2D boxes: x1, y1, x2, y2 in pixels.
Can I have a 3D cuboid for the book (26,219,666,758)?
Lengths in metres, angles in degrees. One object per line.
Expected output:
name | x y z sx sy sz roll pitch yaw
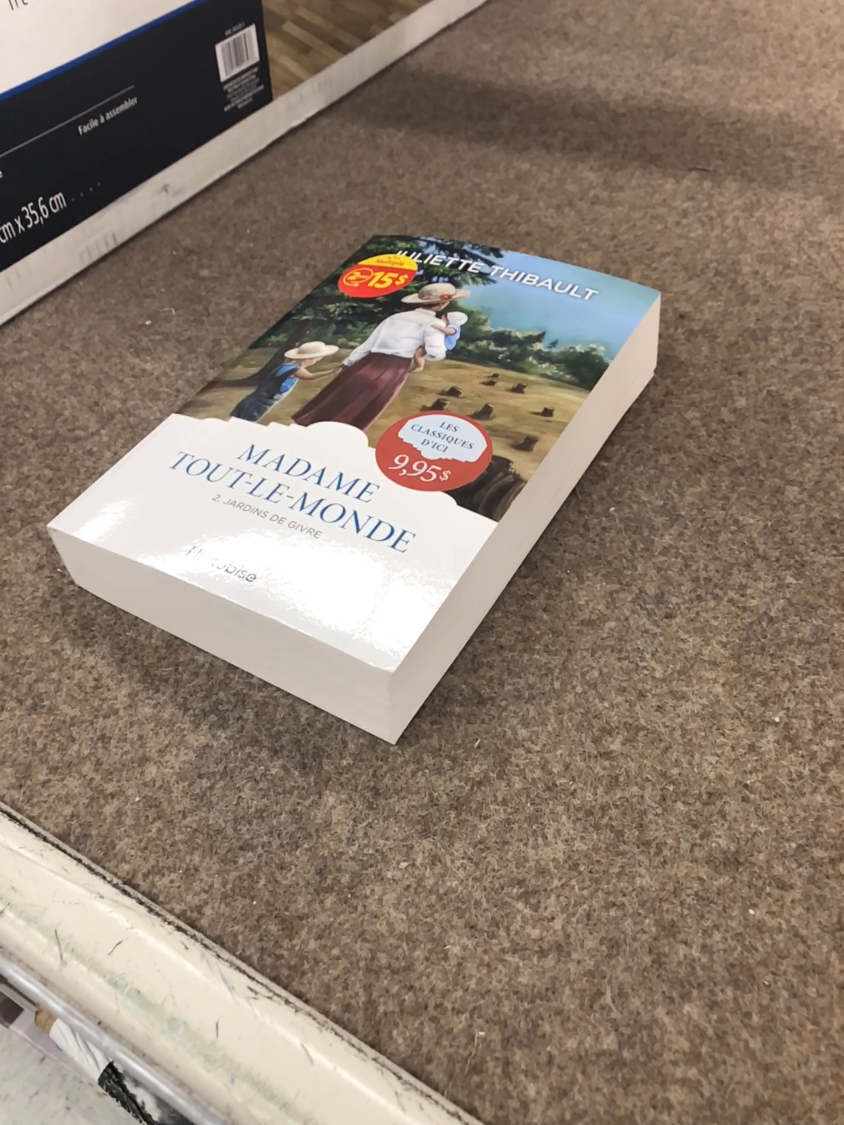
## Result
book | -0.019 -0.052 0.388 0.160 0.050 0.222 20 55 25
